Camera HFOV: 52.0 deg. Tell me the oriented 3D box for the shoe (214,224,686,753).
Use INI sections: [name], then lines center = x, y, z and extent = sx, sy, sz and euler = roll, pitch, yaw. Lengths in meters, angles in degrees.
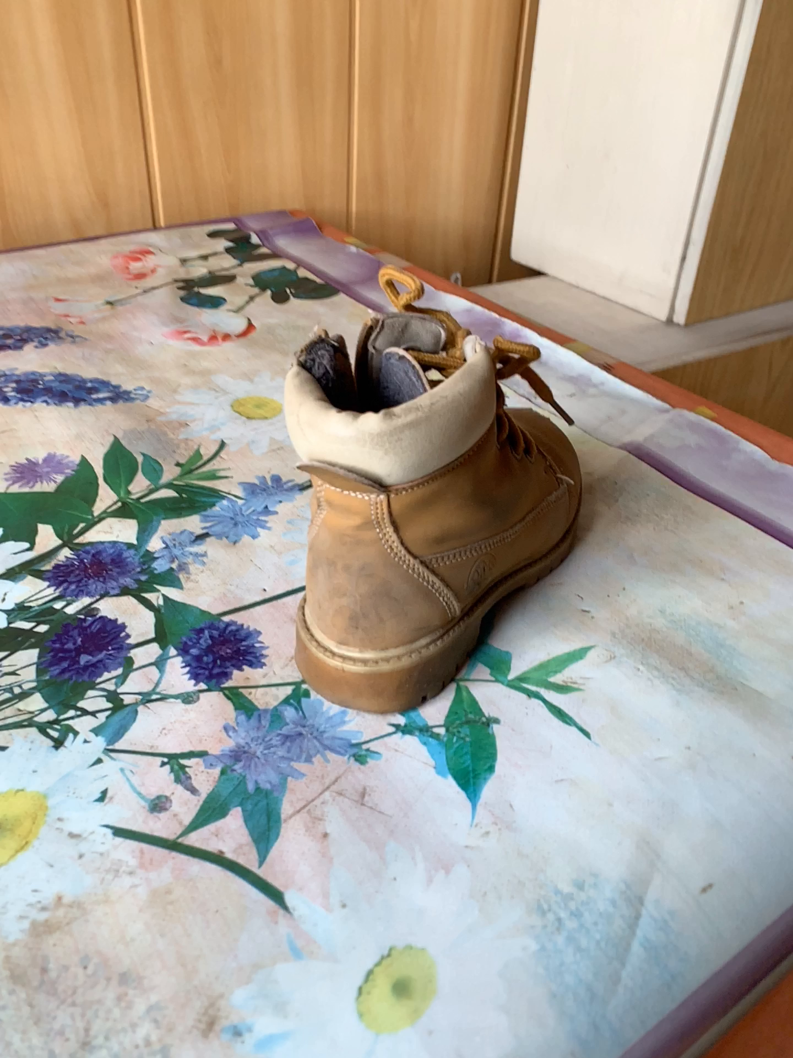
[shoe]
center = 0.036, -0.038, 0.356
extent = 0.090, 0.129, 0.222
euler = 21, 38, 25
